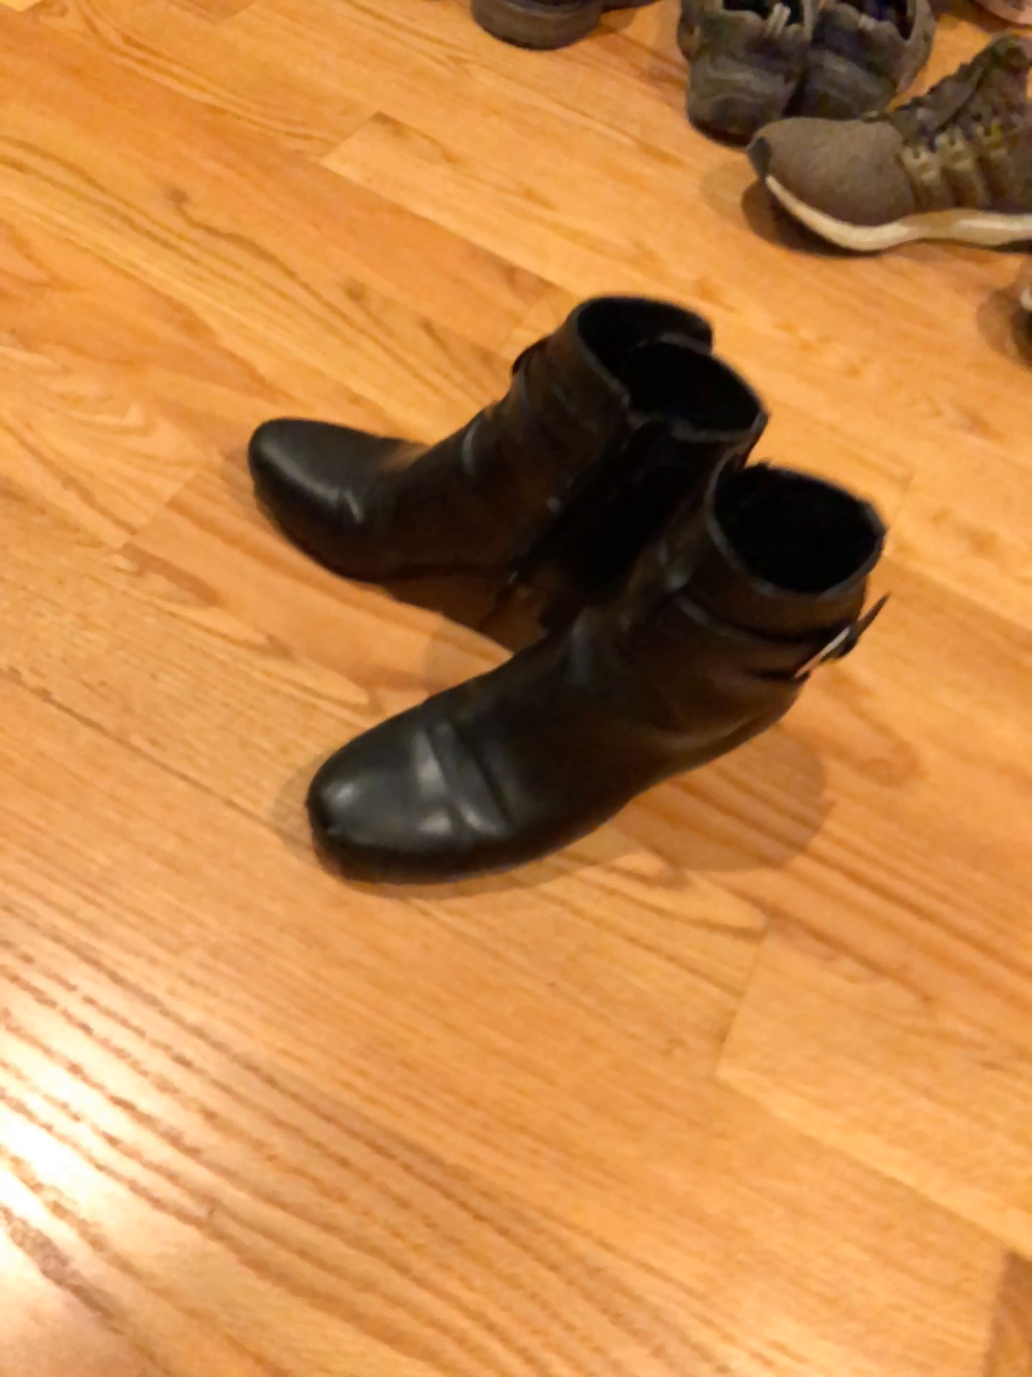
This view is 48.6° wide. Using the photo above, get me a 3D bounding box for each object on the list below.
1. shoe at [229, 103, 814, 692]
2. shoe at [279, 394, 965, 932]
[{"bbox_3d":[-0.010,-0.127,0.536,0.226,0.172,0.091,26,54,4],"label":"shoe"},{"bbox_3d":[0.030,-0.009,0.470,0.227,0.172,0.090,-15,62,-23],"label":"shoe"}]
